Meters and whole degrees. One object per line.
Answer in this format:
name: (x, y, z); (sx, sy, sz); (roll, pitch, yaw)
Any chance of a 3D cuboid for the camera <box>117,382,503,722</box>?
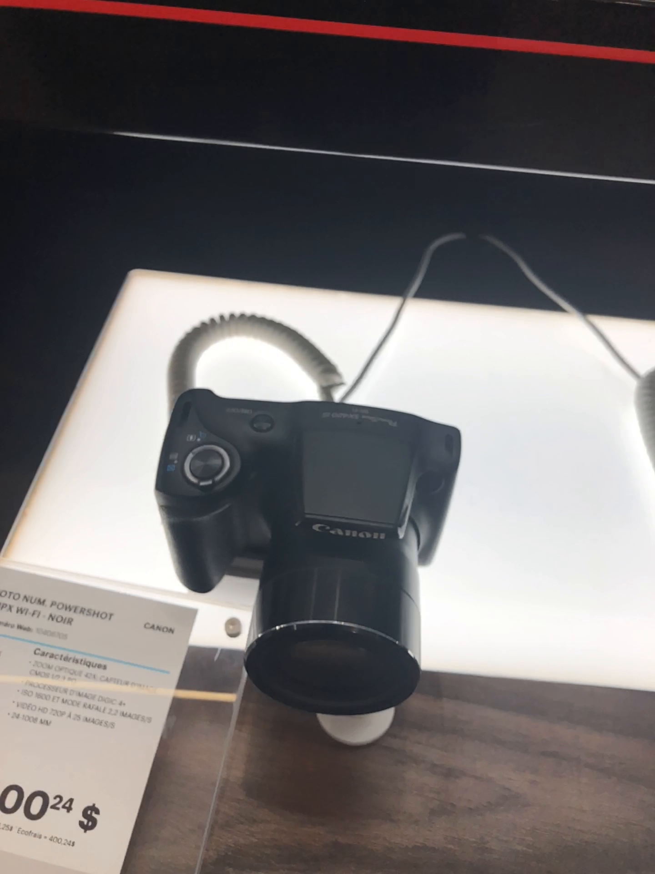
camera: (-0.006, 0.039, 0.249); (0.102, 0.074, 0.081); (3, 45, -2)
